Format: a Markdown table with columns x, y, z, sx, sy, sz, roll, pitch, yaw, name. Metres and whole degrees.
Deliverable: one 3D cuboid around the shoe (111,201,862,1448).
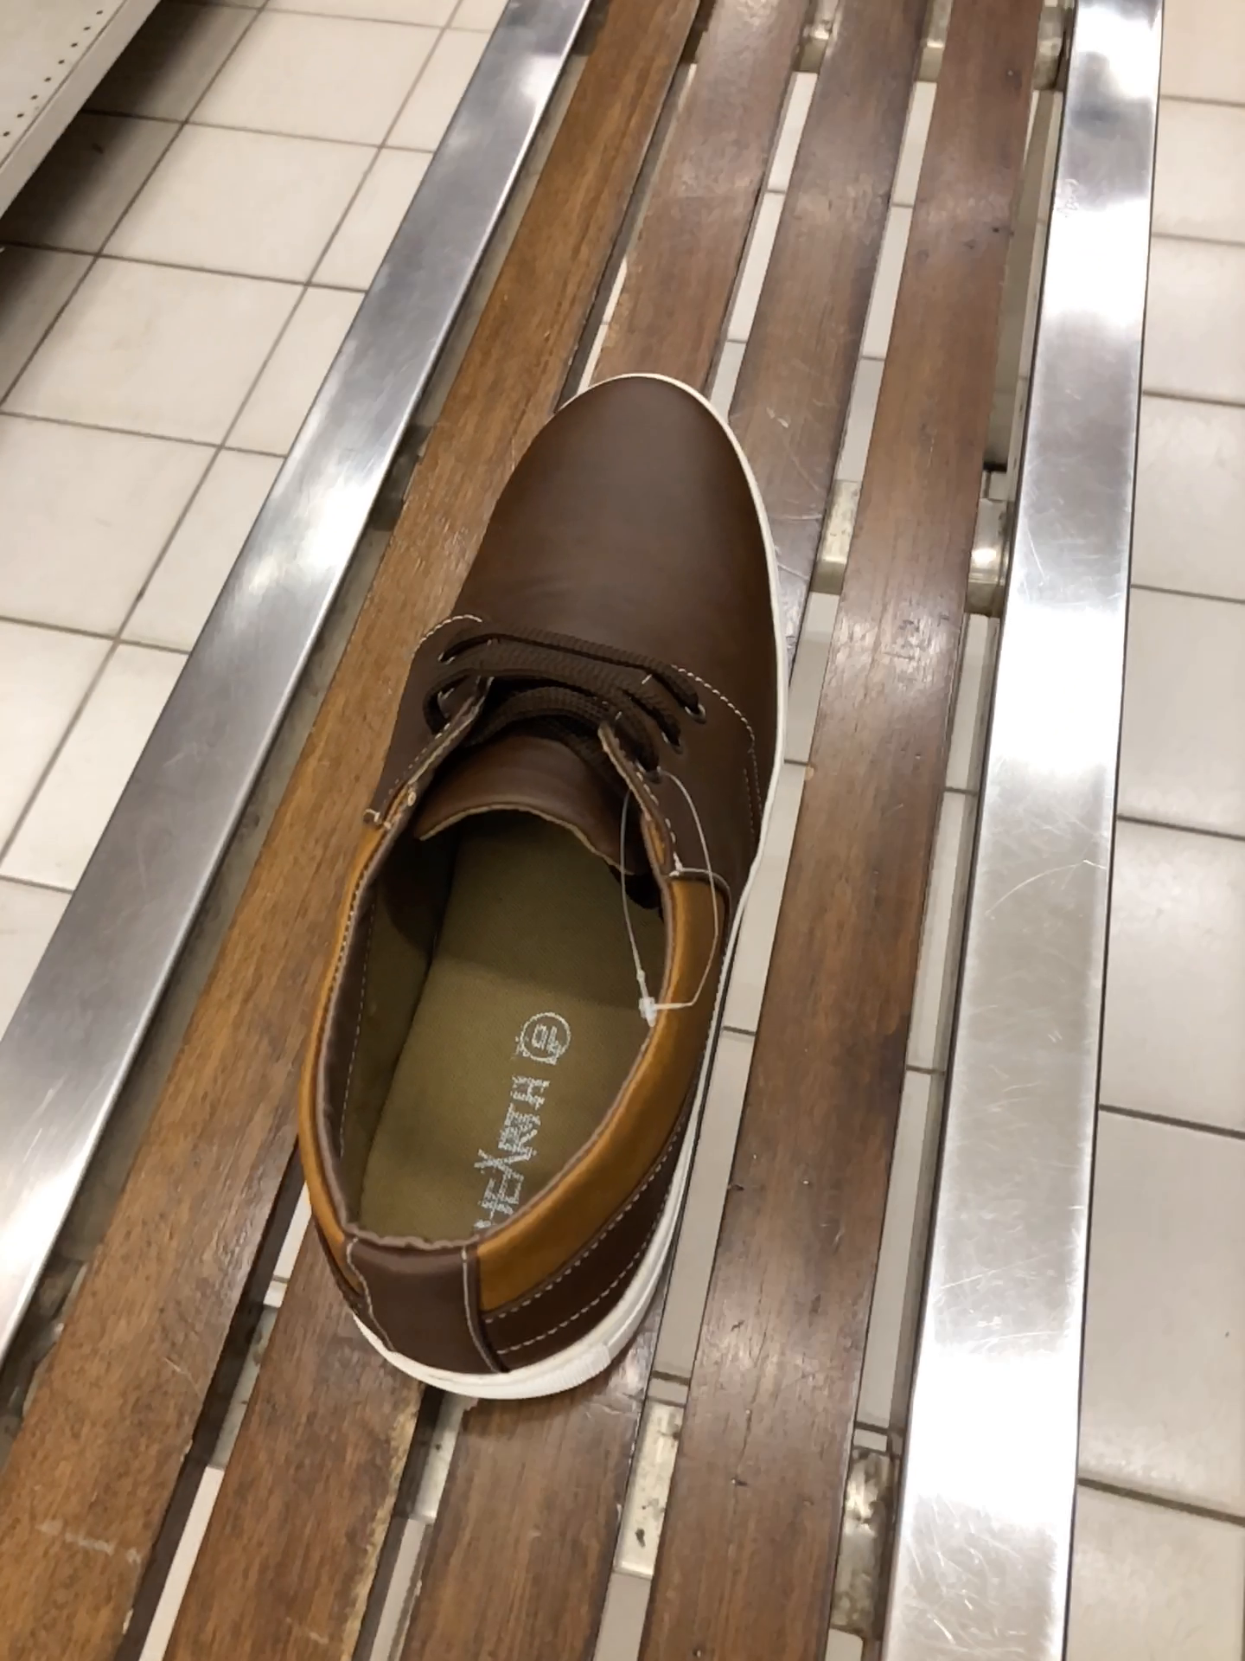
| x | y | z | sx | sy | sz | roll | pitch | yaw | name |
| --- | --- | --- | --- | --- | --- | --- | --- | --- | --- |
| -0.011 | -0.024 | 0.352 | 0.100 | 0.080 | 0.311 | 9 | 60 | 8 | shoe |
